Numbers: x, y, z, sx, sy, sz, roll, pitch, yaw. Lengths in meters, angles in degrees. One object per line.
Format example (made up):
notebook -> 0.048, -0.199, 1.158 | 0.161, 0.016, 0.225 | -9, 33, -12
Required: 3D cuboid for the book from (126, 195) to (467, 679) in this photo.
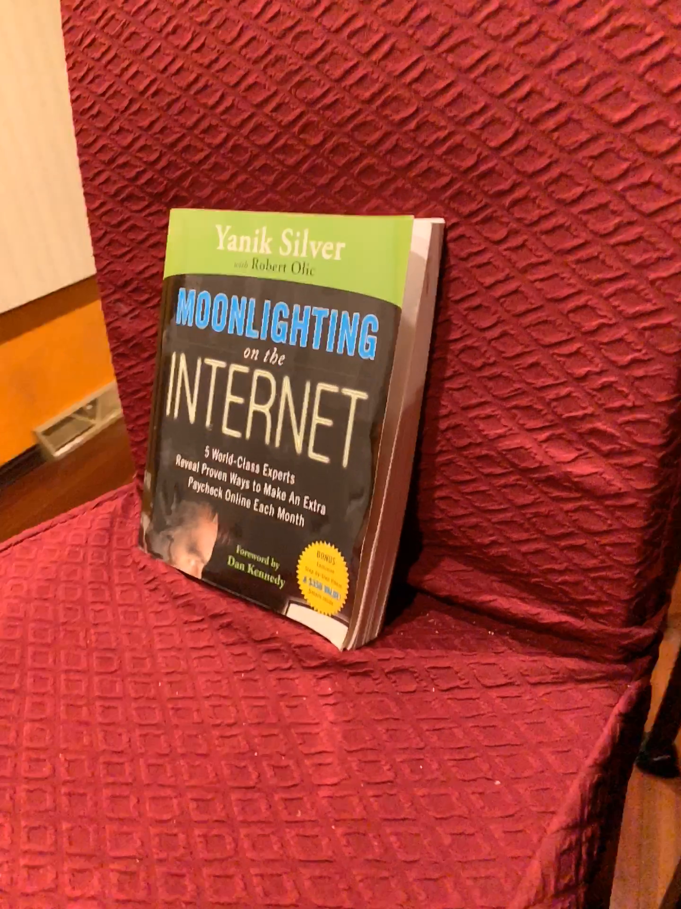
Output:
book -> -0.042, -0.024, 0.416 | 0.201, 0.239, 0.040 | 15, 13, 36
